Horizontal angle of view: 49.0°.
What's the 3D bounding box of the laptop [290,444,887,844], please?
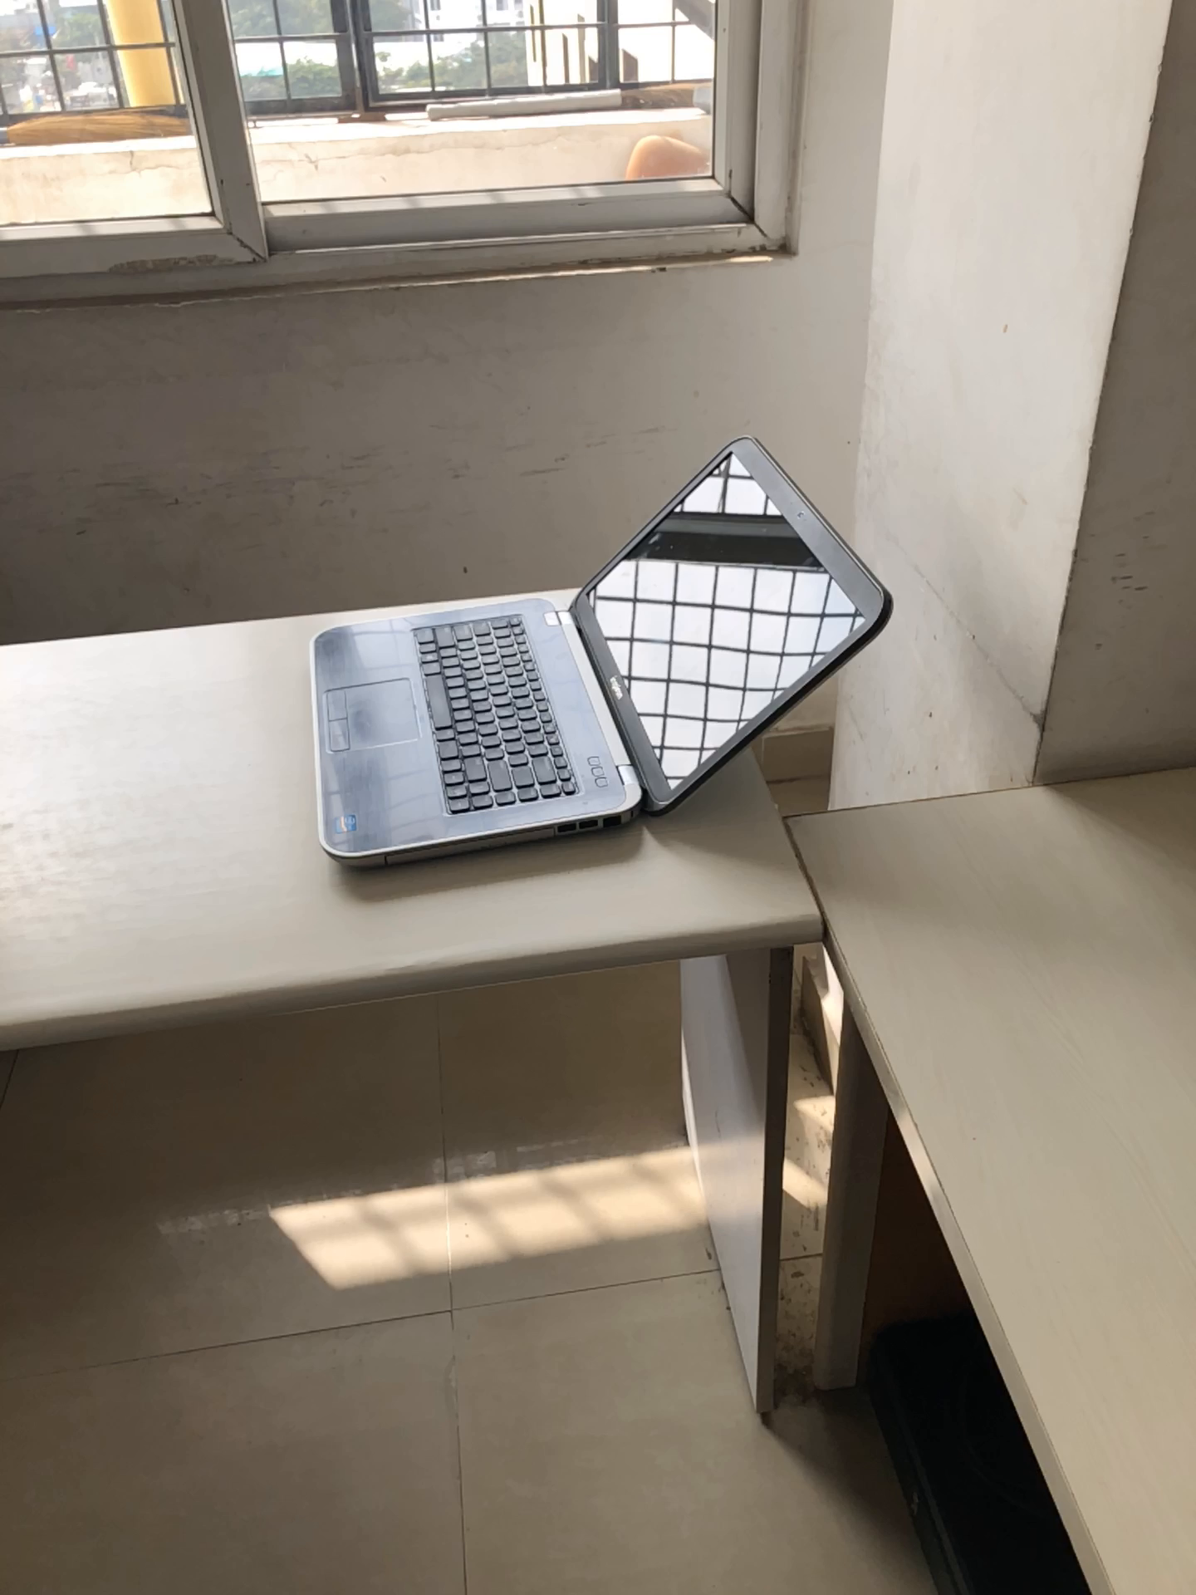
[{"bbox_3d":[-0.031,-0.146,1.088,0.405,0.145,0.344,-8,36,-8],"label":"laptop"}]
